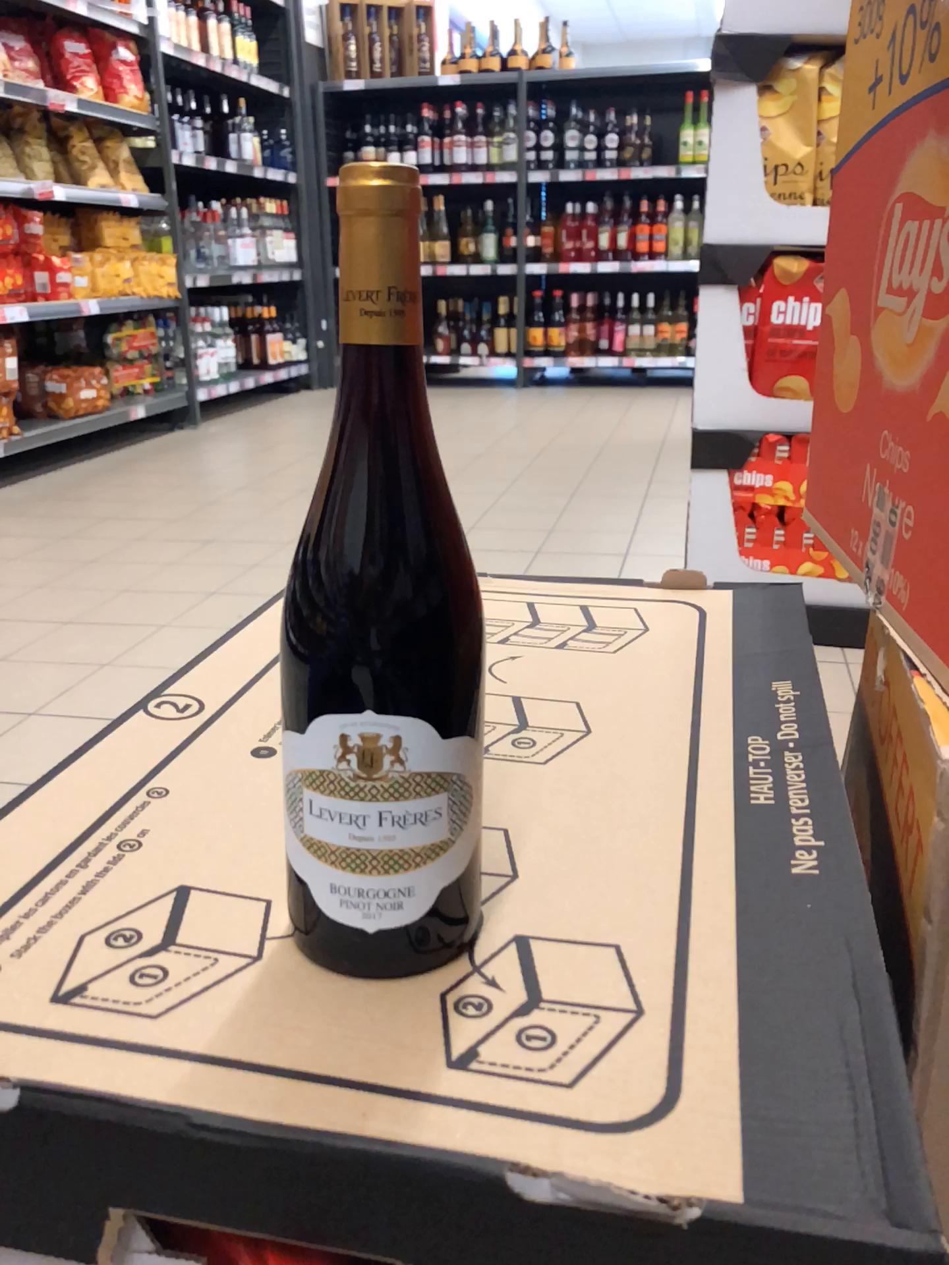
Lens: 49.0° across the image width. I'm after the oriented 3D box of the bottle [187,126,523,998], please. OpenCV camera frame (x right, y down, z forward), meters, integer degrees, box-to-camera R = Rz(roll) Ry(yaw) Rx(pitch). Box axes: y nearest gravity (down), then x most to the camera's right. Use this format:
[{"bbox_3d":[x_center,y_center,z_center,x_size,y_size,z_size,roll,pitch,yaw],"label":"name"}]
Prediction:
[{"bbox_3d":[-0.032,-0.018,0.390,0.090,0.299,0.080,2,19,10],"label":"bottle"}]
